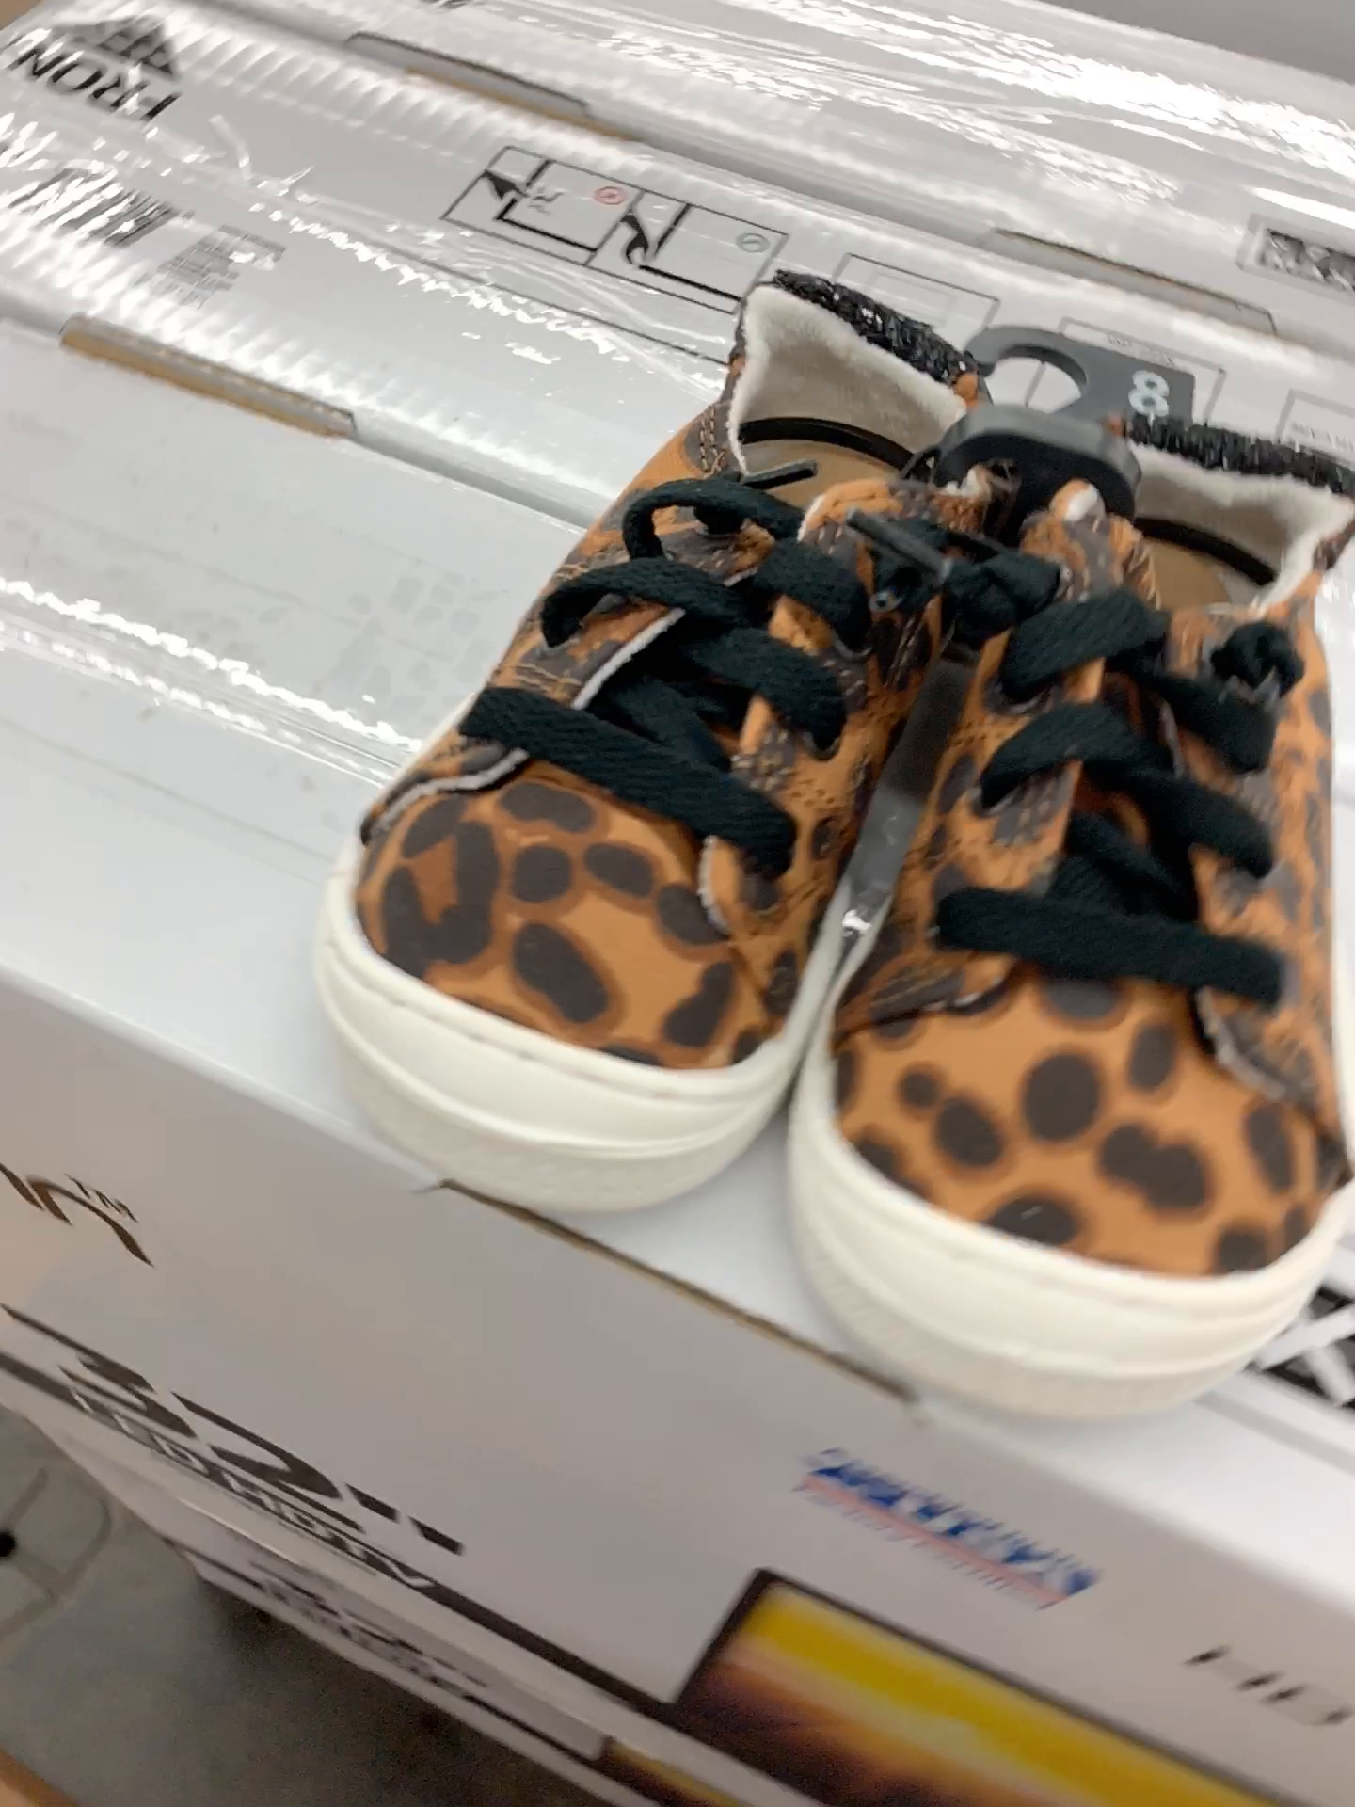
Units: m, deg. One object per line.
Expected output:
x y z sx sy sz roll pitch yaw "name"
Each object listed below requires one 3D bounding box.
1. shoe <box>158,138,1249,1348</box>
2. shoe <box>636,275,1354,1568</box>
0.018 -0.039 0.195 0.080 0.040 0.171 21 56 10 "shoe"
0.064 -0.015 0.193 0.080 0.040 0.171 20 55 9 "shoe"
